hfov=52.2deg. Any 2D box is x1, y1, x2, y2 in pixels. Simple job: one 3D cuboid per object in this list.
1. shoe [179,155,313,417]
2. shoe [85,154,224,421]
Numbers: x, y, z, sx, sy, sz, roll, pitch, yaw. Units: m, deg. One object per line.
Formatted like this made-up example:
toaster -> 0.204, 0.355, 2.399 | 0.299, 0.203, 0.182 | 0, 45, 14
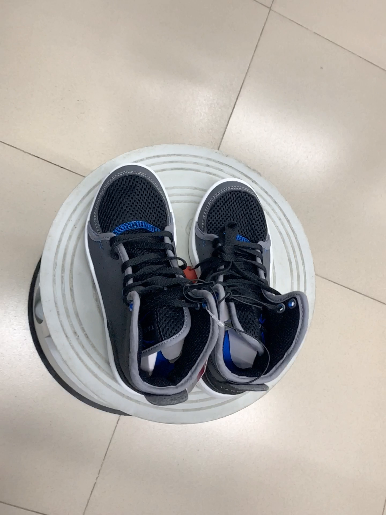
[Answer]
shoe -> 0.042, 0.029, 0.365 | 0.080, 0.120, 0.200 | 4, 79, -12
shoe -> -0.042, 0.023, 0.354 | 0.090, 0.100, 0.200 | -4, 81, -14
